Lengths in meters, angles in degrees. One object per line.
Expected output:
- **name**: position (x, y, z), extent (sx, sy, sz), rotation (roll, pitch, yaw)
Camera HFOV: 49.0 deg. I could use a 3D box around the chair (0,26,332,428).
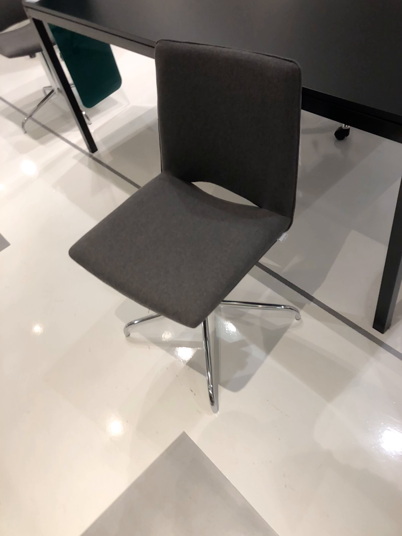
- **chair**: position (-0.026, -0.088, 1.221), extent (0.522, 0.835, 0.552), rotation (25, 60, 31)
